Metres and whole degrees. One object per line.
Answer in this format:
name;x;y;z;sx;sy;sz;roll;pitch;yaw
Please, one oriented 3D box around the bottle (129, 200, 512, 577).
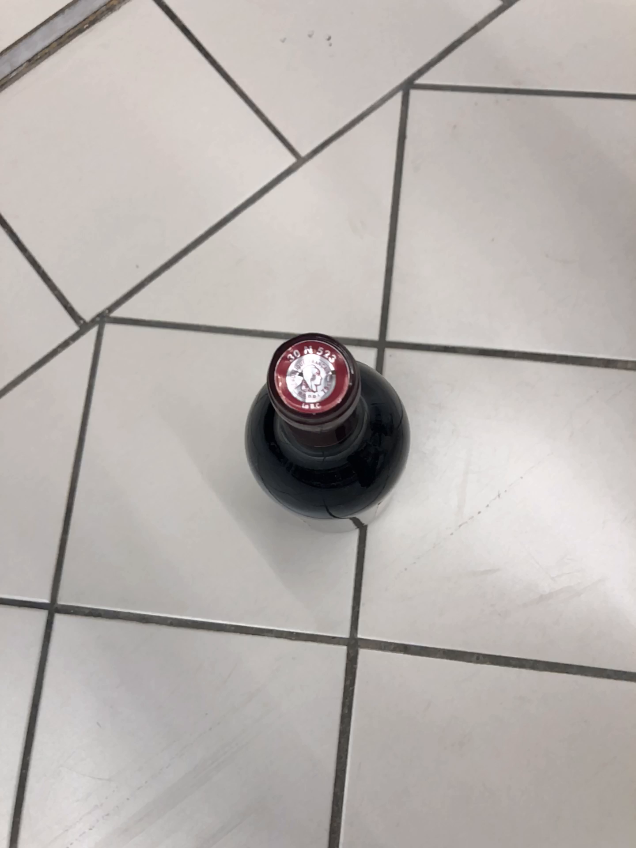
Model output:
bottle;0.007;0.010;0.327;0.090;0.250;0.090;-1;80;4
